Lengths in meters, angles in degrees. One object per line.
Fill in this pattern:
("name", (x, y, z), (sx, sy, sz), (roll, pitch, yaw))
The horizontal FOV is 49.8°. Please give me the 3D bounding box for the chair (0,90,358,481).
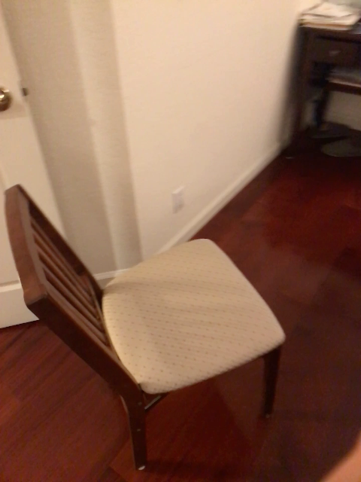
("chair", (-0.032, 0.194, 1.060), (0.561, 0.924, 0.503), (-19, 45, -15))
